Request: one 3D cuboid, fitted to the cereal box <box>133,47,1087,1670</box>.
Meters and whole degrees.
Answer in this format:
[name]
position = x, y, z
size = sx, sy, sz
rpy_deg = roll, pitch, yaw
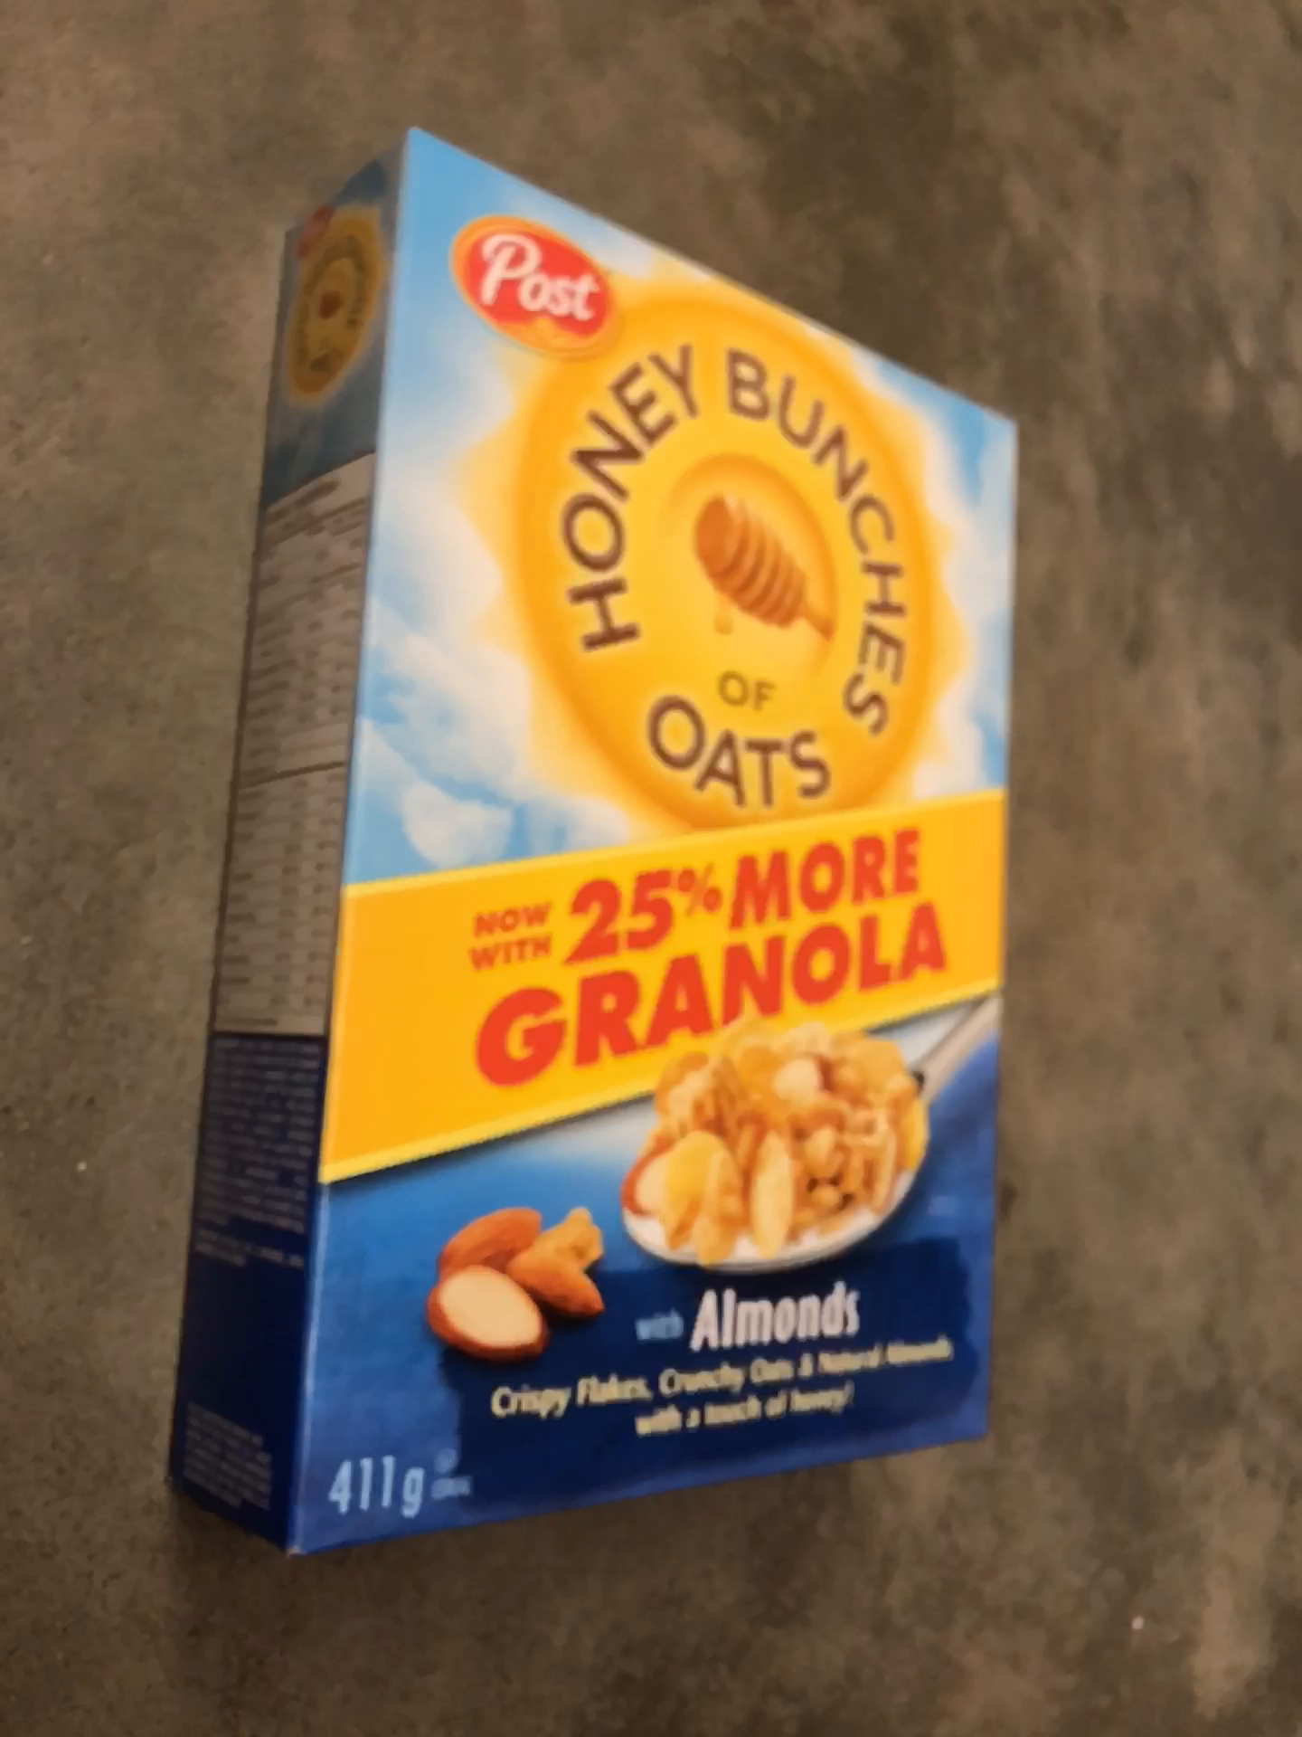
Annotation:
[cereal box]
position = 0.009, 0.003, 0.327
size = 0.201, 0.060, 0.270
rpy_deg = 9, 82, -39
